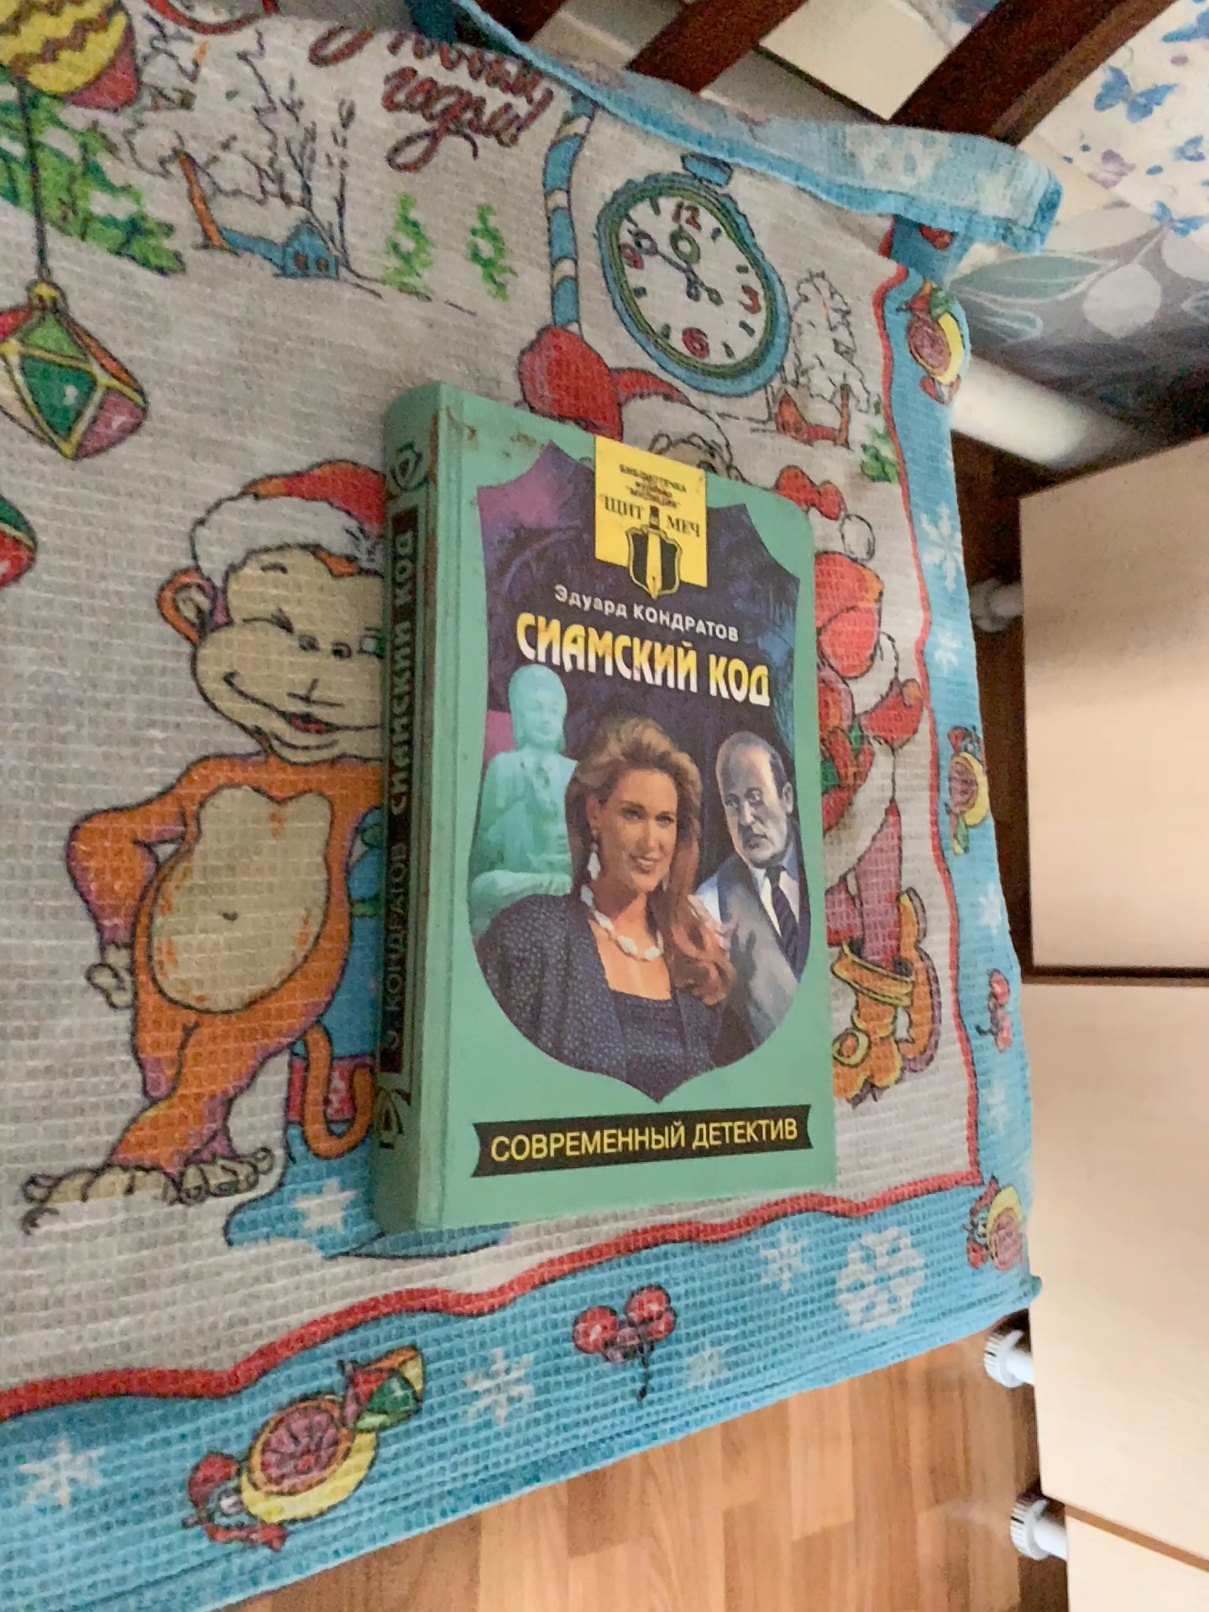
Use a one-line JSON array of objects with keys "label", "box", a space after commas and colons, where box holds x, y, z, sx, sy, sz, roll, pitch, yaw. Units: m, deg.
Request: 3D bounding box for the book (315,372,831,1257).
[{"label": "book", "box": [-0.001, 0.004, 0.326, 0.141, 0.023, 0.200, 7, 79, -35]}]
